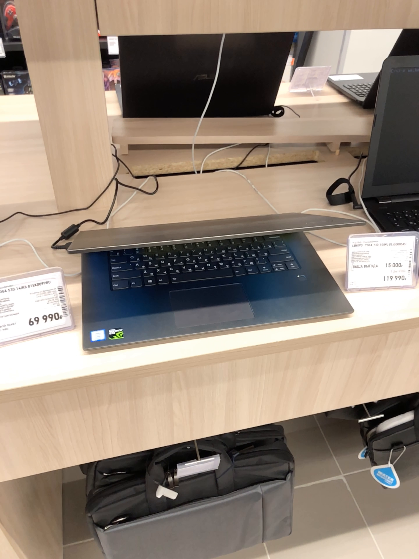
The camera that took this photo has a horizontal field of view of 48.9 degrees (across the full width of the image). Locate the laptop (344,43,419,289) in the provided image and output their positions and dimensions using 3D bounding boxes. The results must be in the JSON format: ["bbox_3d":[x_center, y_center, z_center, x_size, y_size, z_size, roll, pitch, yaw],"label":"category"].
[{"bbox_3d":[0.506,-0.206,0.760,0.402,0.240,0.305,-8,42,-12],"label":"laptop"}]

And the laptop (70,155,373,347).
[{"bbox_3d":[-0.003,-0.059,0.662,0.362,0.118,0.243,-6,41,-11],"label":"laptop"}]
